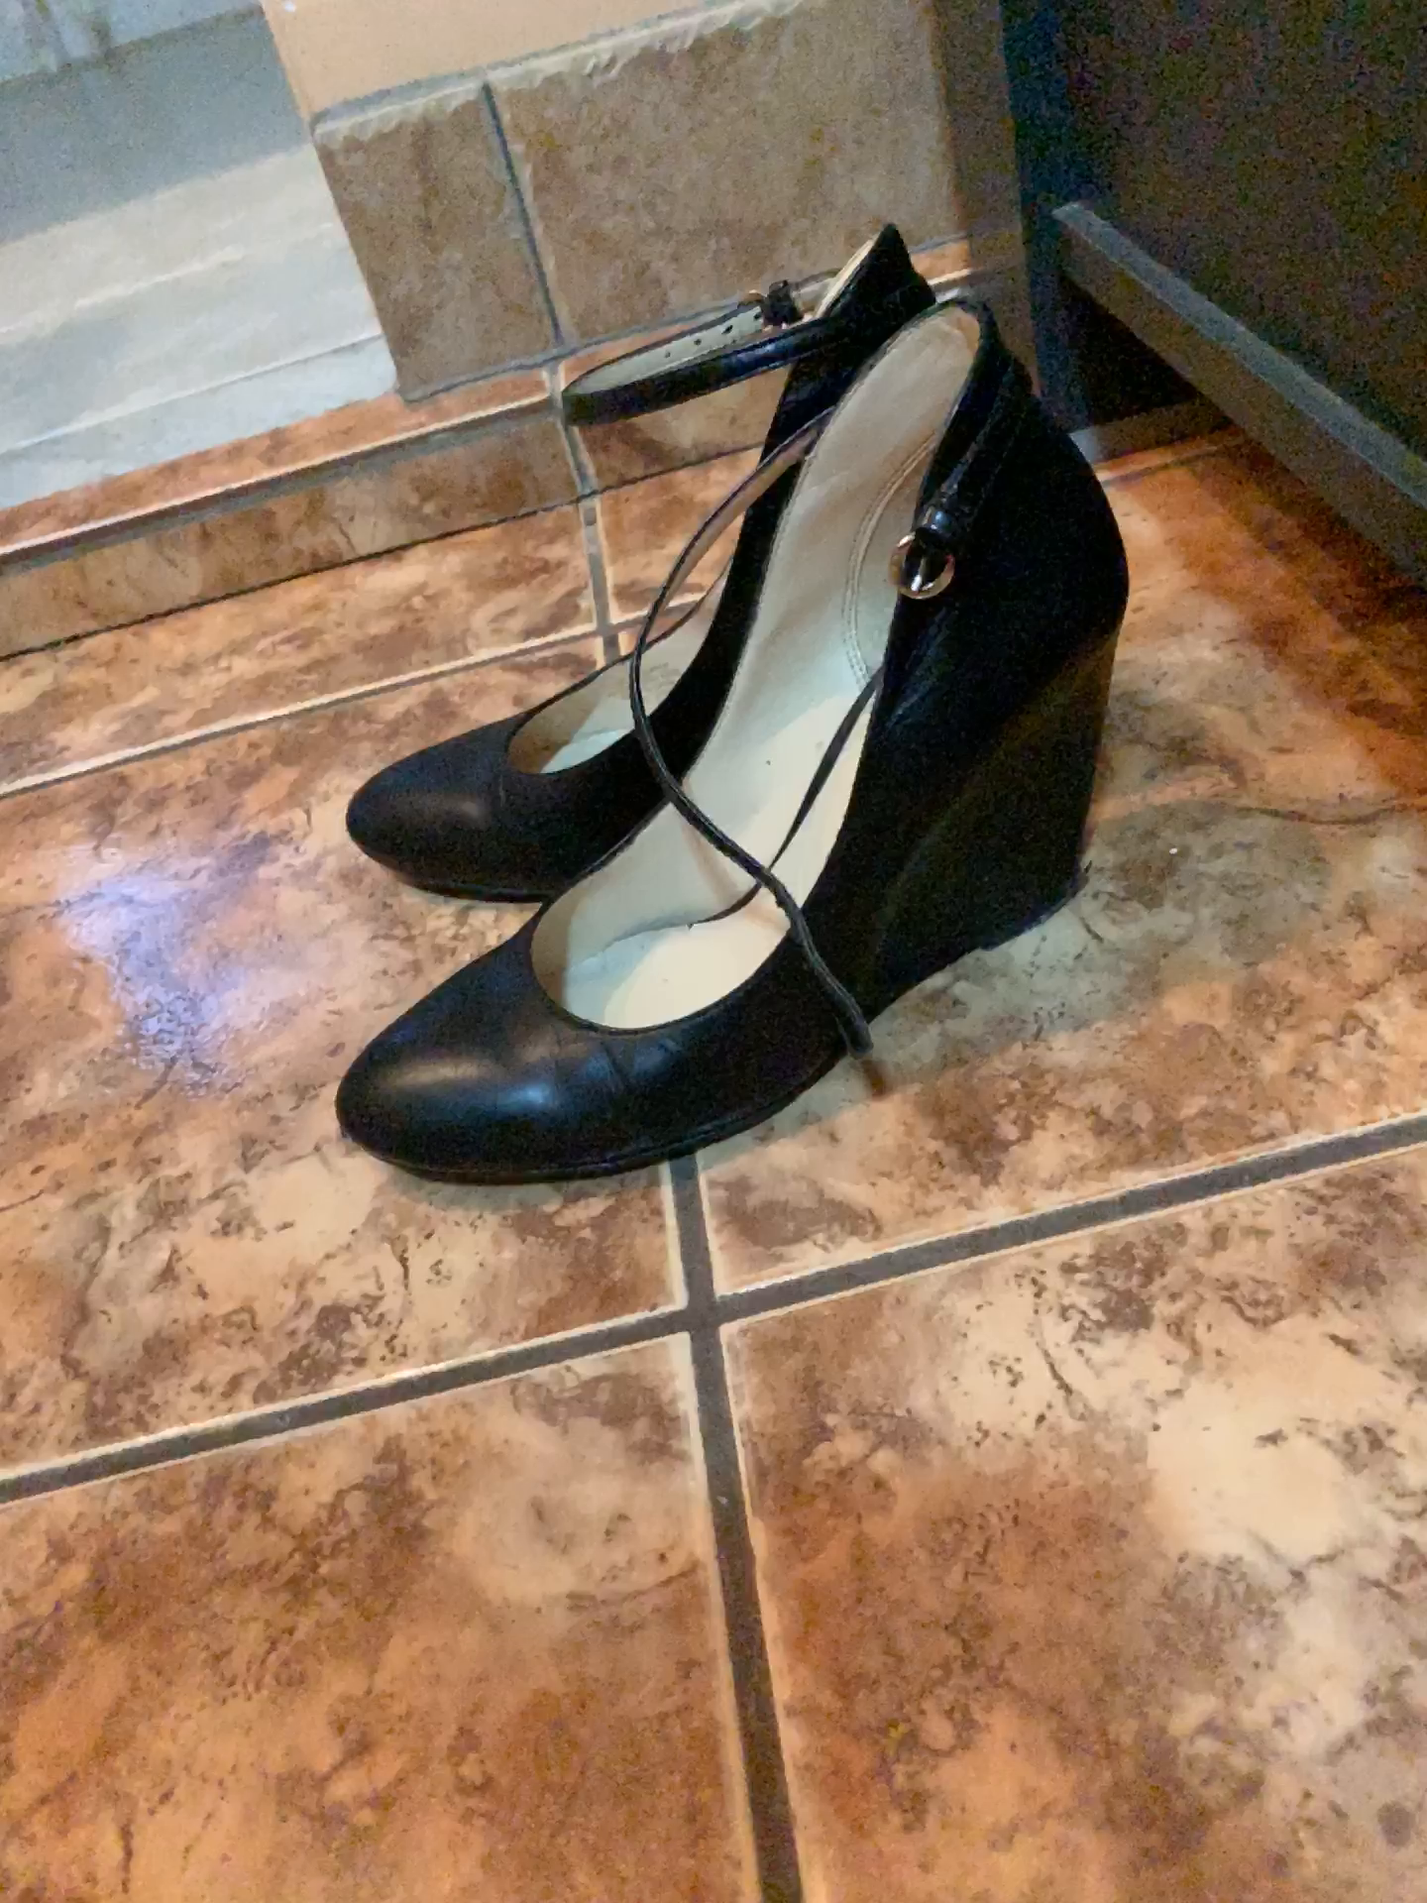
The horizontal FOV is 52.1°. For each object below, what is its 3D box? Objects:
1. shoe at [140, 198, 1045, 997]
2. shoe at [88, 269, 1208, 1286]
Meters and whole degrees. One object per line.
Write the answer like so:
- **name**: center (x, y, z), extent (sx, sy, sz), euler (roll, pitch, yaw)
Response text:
- **shoe**: center (-0.022, -0.092, 0.415), extent (0.200, 0.159, 0.079), euler (-13, 40, 6)
- **shoe**: center (-0.006, -0.040, 0.333), extent (0.209, 0.140, 0.087), euler (-23, 40, -6)
